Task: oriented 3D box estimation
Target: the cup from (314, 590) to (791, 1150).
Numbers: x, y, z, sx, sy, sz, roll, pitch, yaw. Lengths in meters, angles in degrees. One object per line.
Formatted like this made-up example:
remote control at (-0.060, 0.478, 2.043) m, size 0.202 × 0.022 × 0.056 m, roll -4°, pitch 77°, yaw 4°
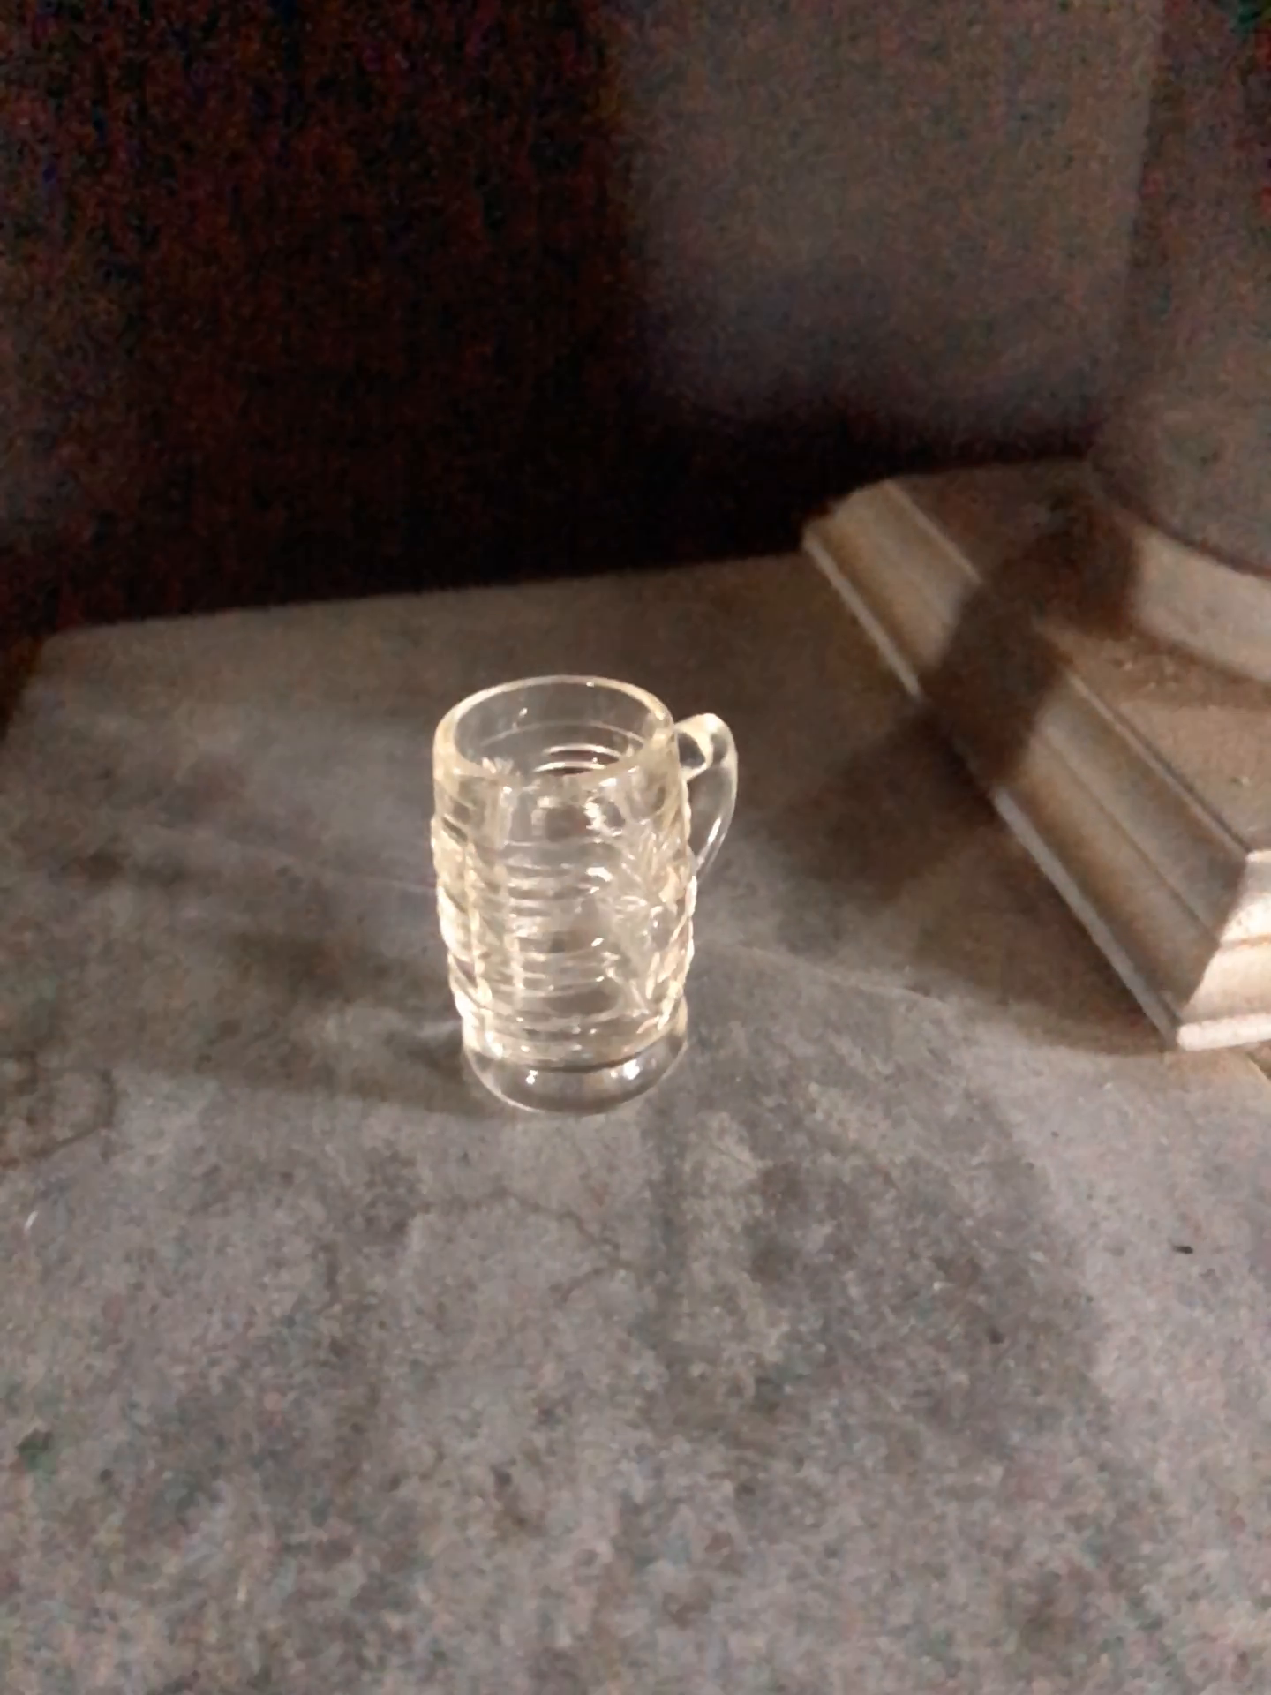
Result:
cup at (-0.008, 0.000, 0.207) m, size 0.040 × 0.050 × 0.060 m, roll 13°, pitch 37°, yaw 24°
